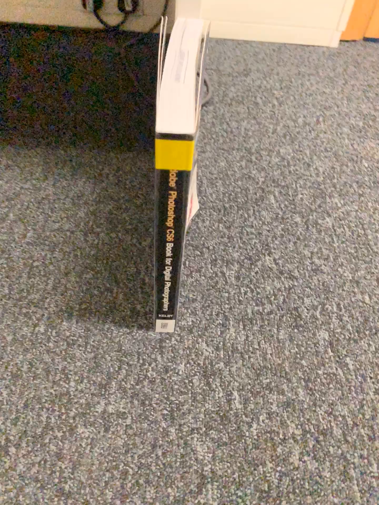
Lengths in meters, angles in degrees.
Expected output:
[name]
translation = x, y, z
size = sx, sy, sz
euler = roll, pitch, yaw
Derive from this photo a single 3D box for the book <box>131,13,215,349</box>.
[book]
translation = -0.019, -0.060, 0.411
size = 0.051, 0.275, 0.213
euler = 4, 49, -3
